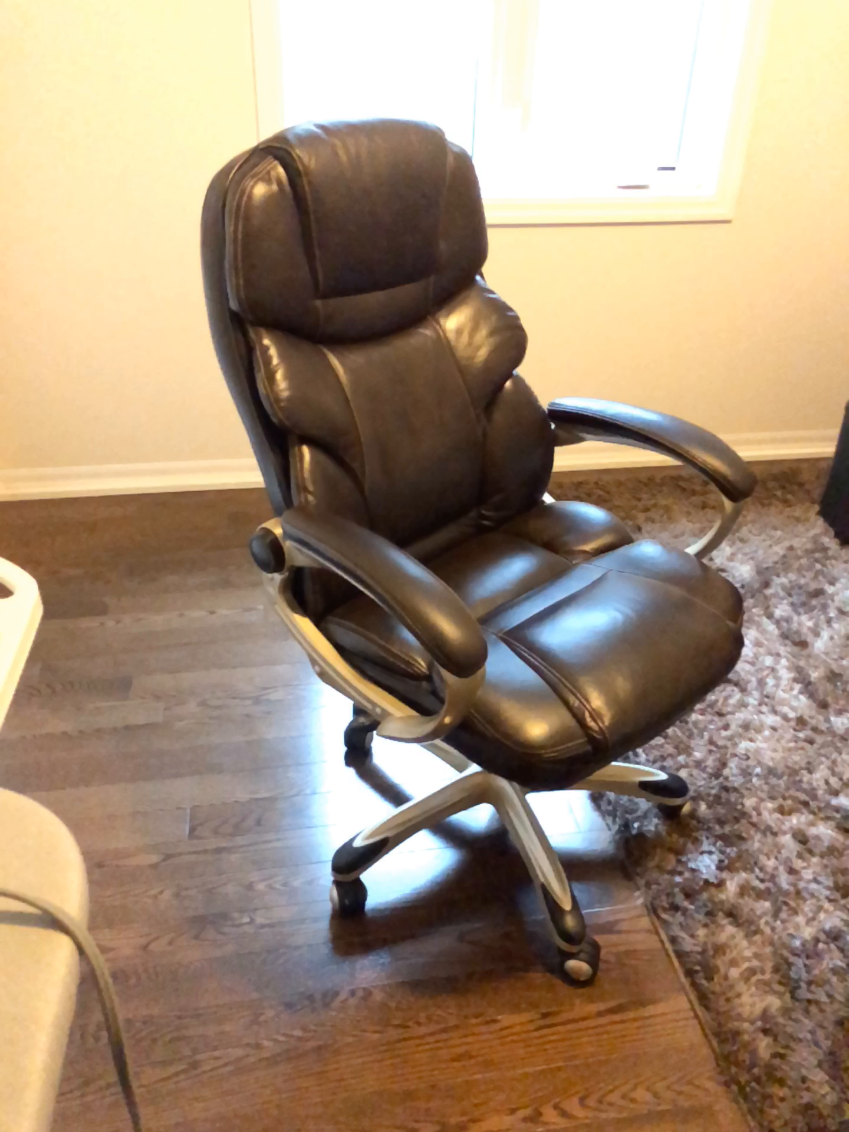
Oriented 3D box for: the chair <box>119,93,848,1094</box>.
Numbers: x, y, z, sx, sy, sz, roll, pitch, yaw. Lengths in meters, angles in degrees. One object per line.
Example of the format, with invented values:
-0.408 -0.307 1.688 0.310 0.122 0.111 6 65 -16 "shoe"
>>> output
0.129 -0.040 1.415 0.731 1.135 0.742 -24 39 -35 "chair"
